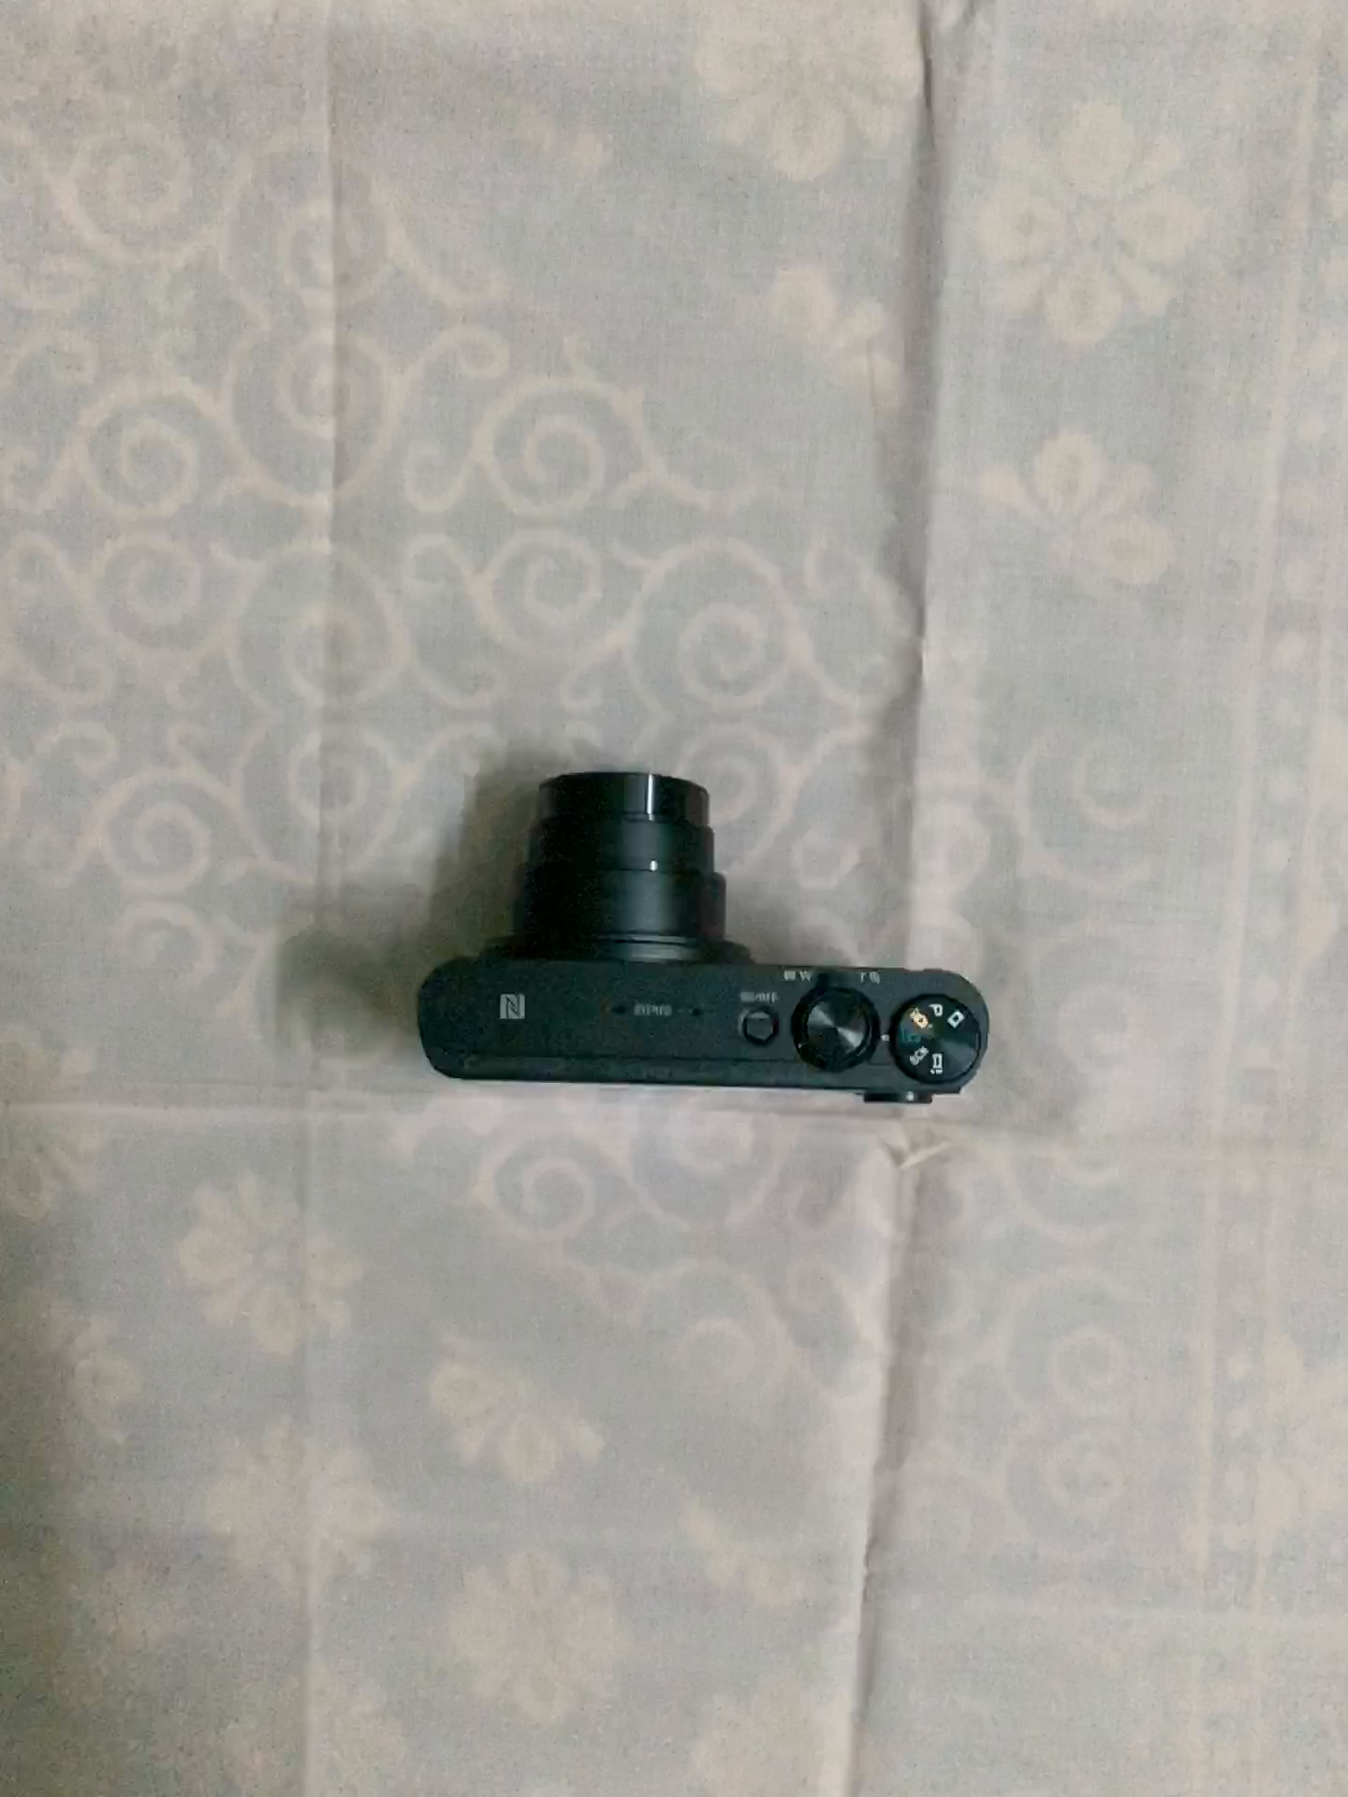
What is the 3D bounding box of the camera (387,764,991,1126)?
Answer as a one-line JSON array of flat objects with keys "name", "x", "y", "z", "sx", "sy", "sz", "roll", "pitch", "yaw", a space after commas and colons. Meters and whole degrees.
[{"name": "camera", "x": 0.003, "y": 0.009, "z": 0.264, "sx": 0.100, "sy": 0.060, "sz": 0.058, "roll": 1, "pitch": 88, "yaw": 1}]
